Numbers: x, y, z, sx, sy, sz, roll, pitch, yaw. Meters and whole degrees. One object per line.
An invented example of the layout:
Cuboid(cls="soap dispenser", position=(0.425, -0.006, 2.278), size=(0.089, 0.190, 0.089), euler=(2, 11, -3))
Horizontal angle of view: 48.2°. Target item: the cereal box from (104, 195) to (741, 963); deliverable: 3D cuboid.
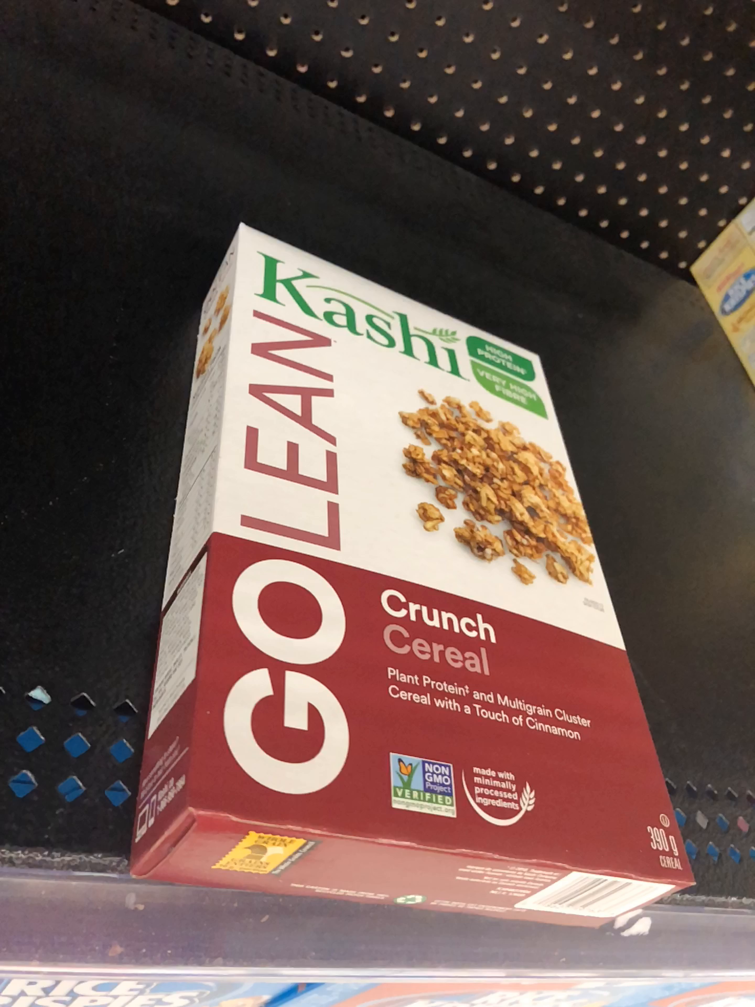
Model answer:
Cuboid(cls="cereal box", position=(0.011, 0.008, 0.335), size=(0.181, 0.050, 0.290), euler=(20, 41, -24))
